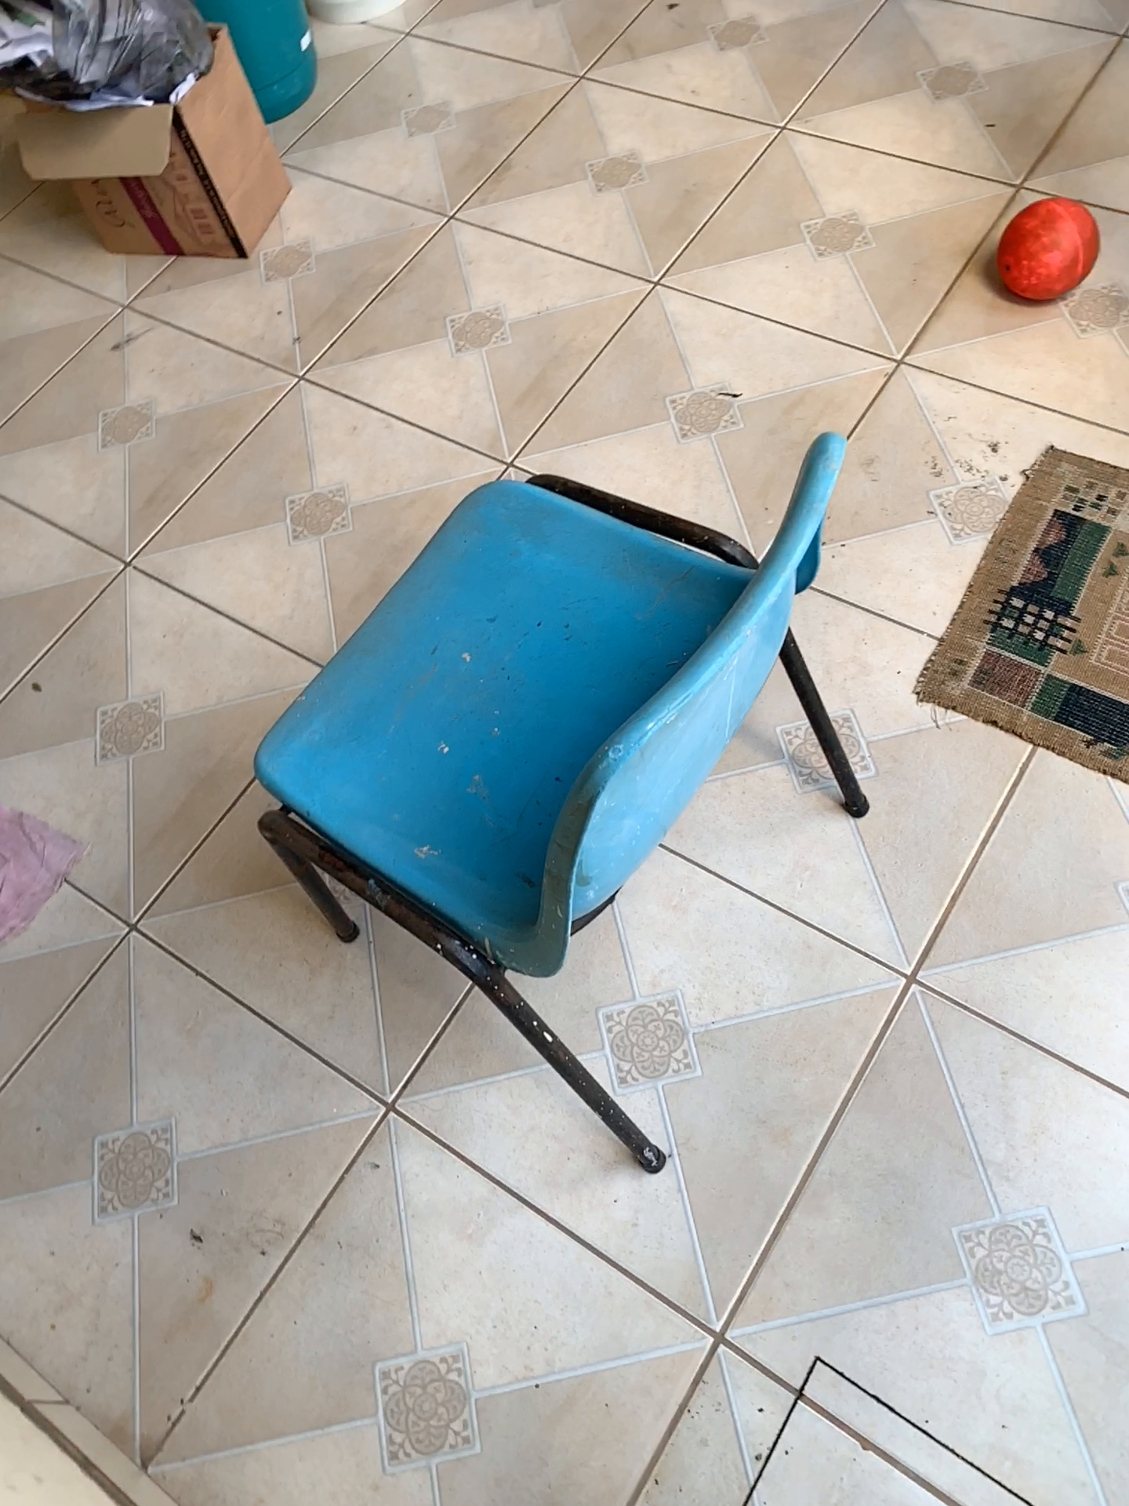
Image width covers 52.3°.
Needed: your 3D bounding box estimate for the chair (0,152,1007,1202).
[{"bbox_3d":[-0.011,-0.030,1.088,0.531,0.688,0.551,26,67,23],"label":"chair"}]
